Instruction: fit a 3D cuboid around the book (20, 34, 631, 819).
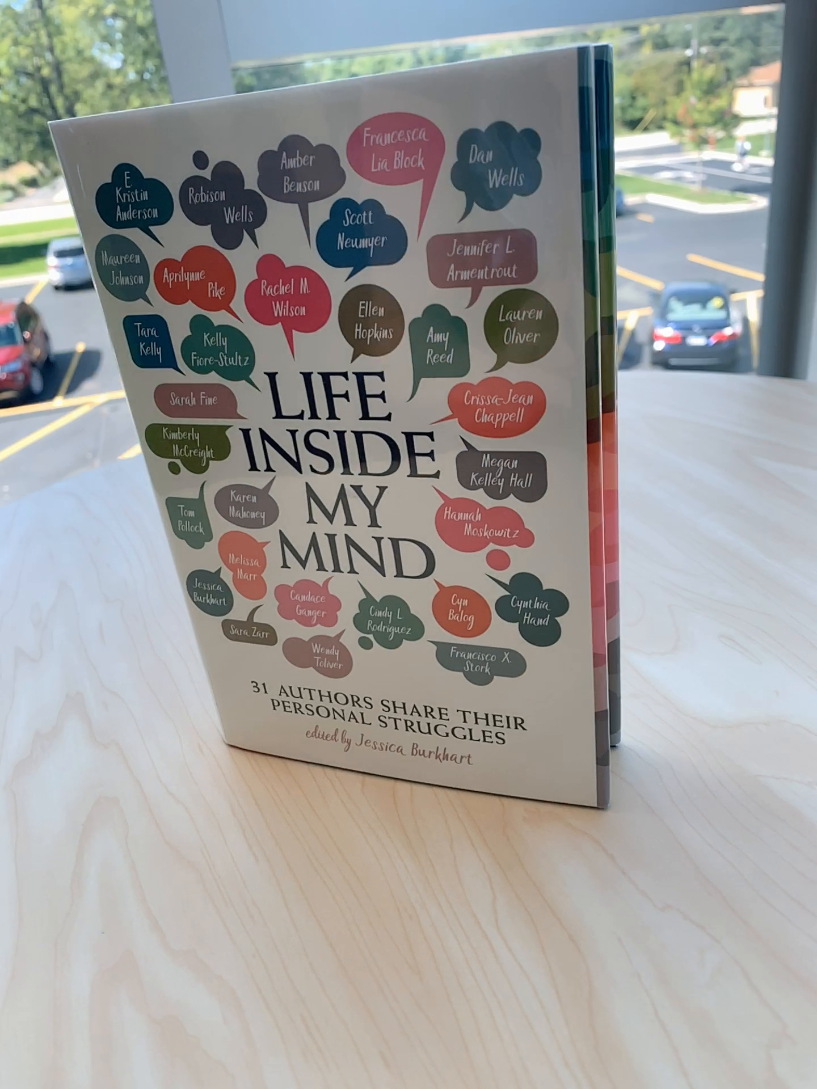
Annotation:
[{"bbox_3d":[-0.012,-0.018,0.258,0.150,0.218,0.030,4,31,20],"label":"book"}]
